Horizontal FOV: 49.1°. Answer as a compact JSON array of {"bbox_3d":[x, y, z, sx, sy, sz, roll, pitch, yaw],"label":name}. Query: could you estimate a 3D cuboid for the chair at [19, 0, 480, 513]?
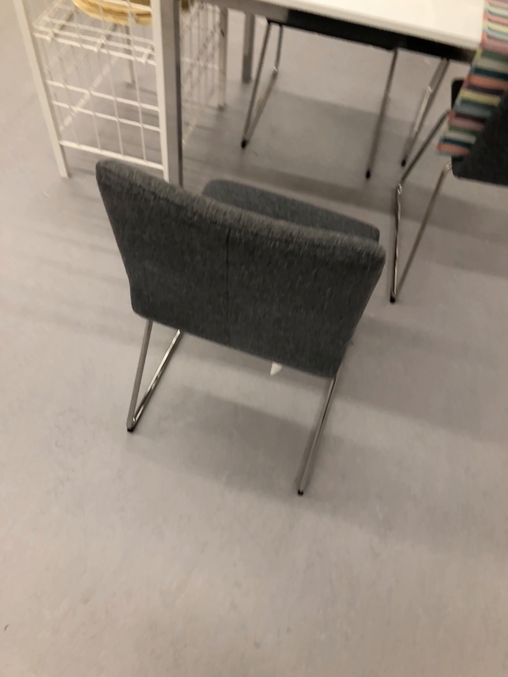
[{"bbox_3d":[0.013,-0.120,1.163,0.510,0.836,0.592,18,58,6],"label":"chair"}]
